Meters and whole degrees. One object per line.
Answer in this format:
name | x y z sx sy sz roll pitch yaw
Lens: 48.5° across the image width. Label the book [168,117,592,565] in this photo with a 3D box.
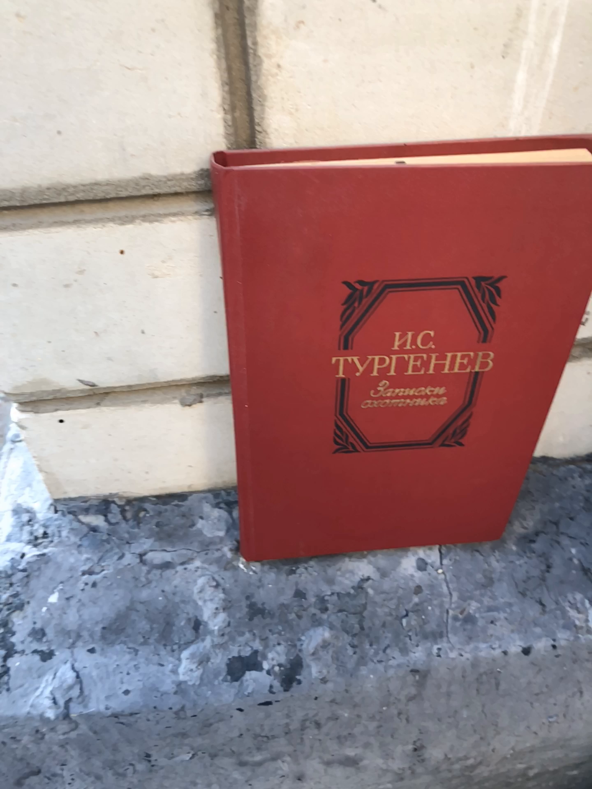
book | 0.037 -0.004 0.280 0.147 0.205 0.026 -4 40 -1
